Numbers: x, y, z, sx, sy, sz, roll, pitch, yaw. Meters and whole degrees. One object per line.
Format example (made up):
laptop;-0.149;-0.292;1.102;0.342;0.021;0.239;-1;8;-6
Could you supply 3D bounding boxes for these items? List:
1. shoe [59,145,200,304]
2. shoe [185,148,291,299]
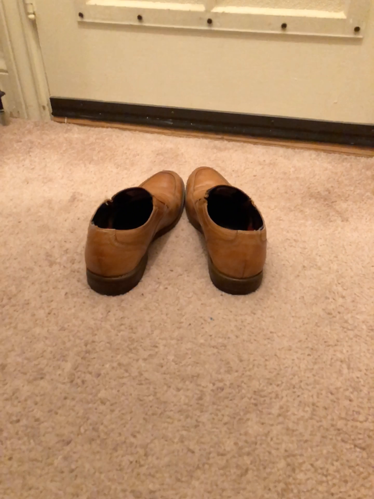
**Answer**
shoe;-0.067;-0.062;0.640;0.100;0.089;0.322;10;35;11
shoe;0.060;-0.061;0.646;0.107;0.089;0.312;-2;34;-4
